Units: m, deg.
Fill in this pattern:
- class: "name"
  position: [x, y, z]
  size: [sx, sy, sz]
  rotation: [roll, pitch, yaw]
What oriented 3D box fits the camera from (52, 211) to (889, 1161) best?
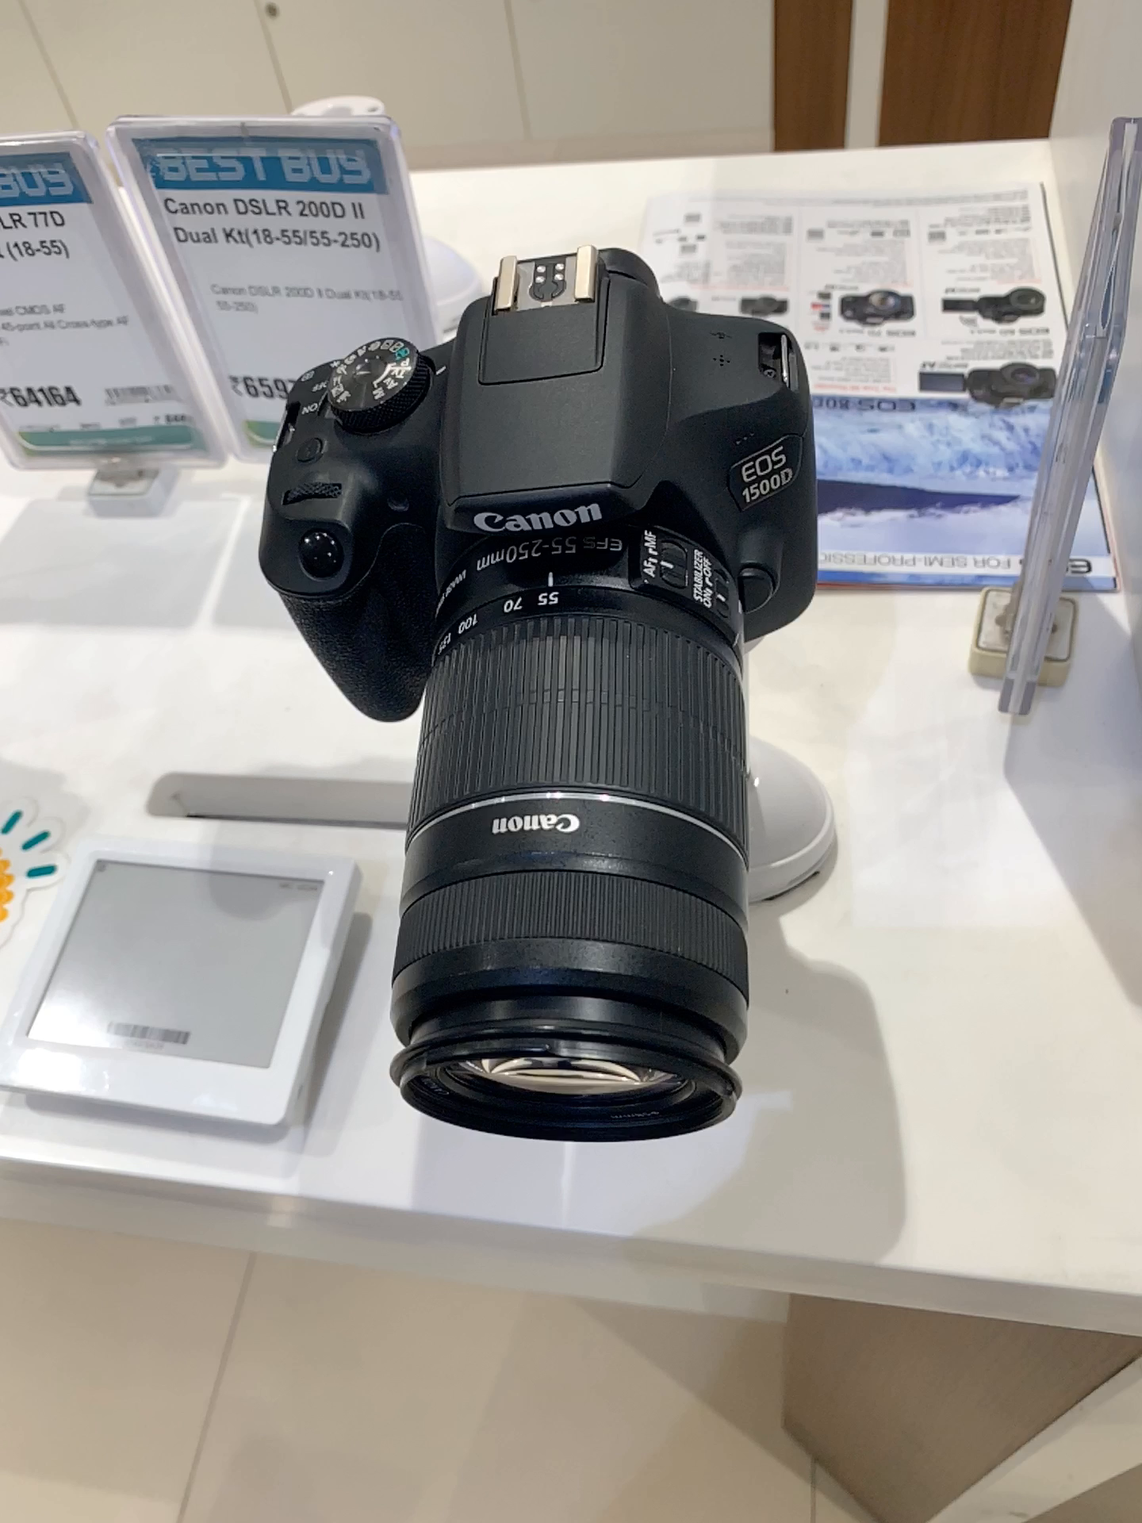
- class: "camera"
  position: [-0.009, -0.013, 0.241]
  size: [0.117, 0.090, 0.164]
  rotation: [-3, 61, 7]
